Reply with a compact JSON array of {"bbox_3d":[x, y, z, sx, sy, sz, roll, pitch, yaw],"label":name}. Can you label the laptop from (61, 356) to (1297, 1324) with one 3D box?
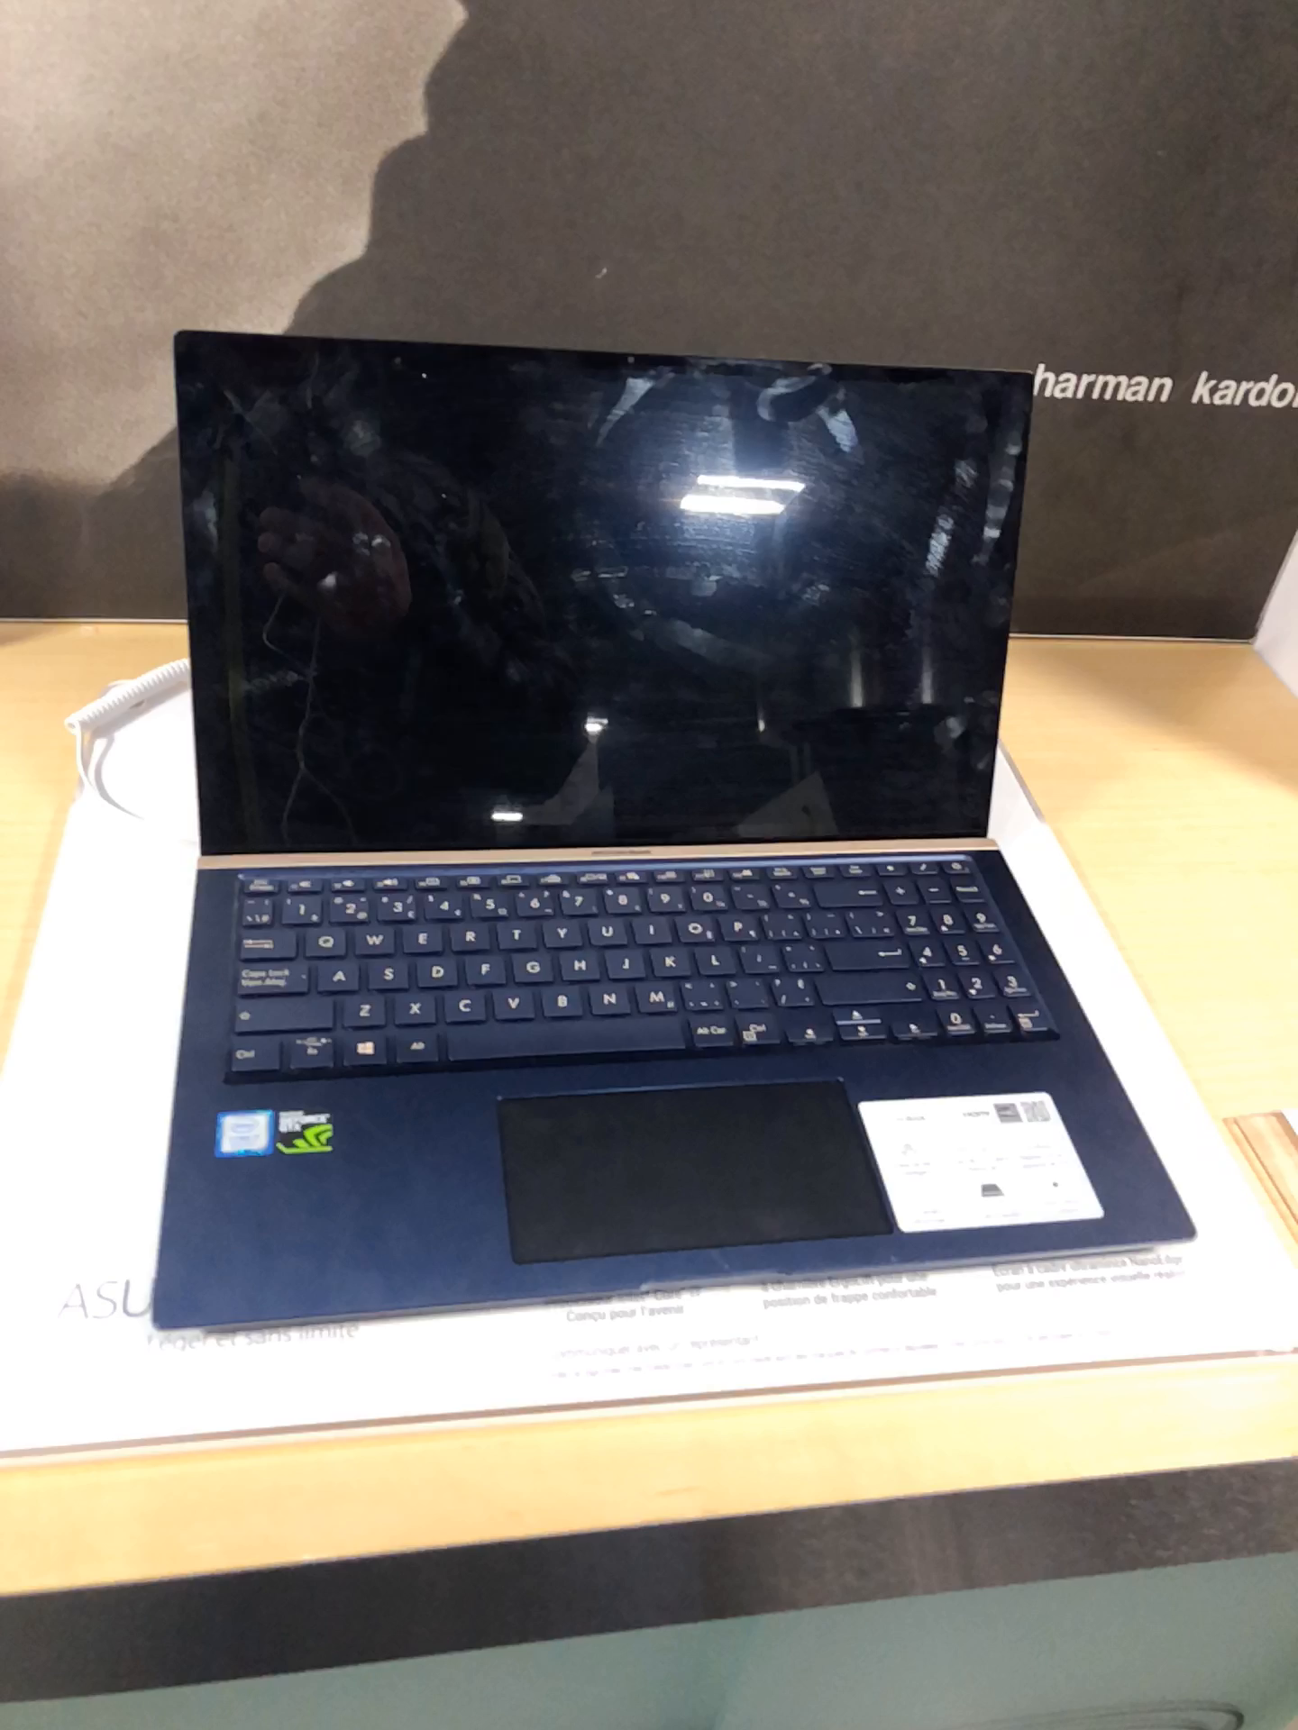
[{"bbox_3d":[0.007,-0.033,0.498,0.331,0.173,0.293,-2,41,-10],"label":"laptop"}]
